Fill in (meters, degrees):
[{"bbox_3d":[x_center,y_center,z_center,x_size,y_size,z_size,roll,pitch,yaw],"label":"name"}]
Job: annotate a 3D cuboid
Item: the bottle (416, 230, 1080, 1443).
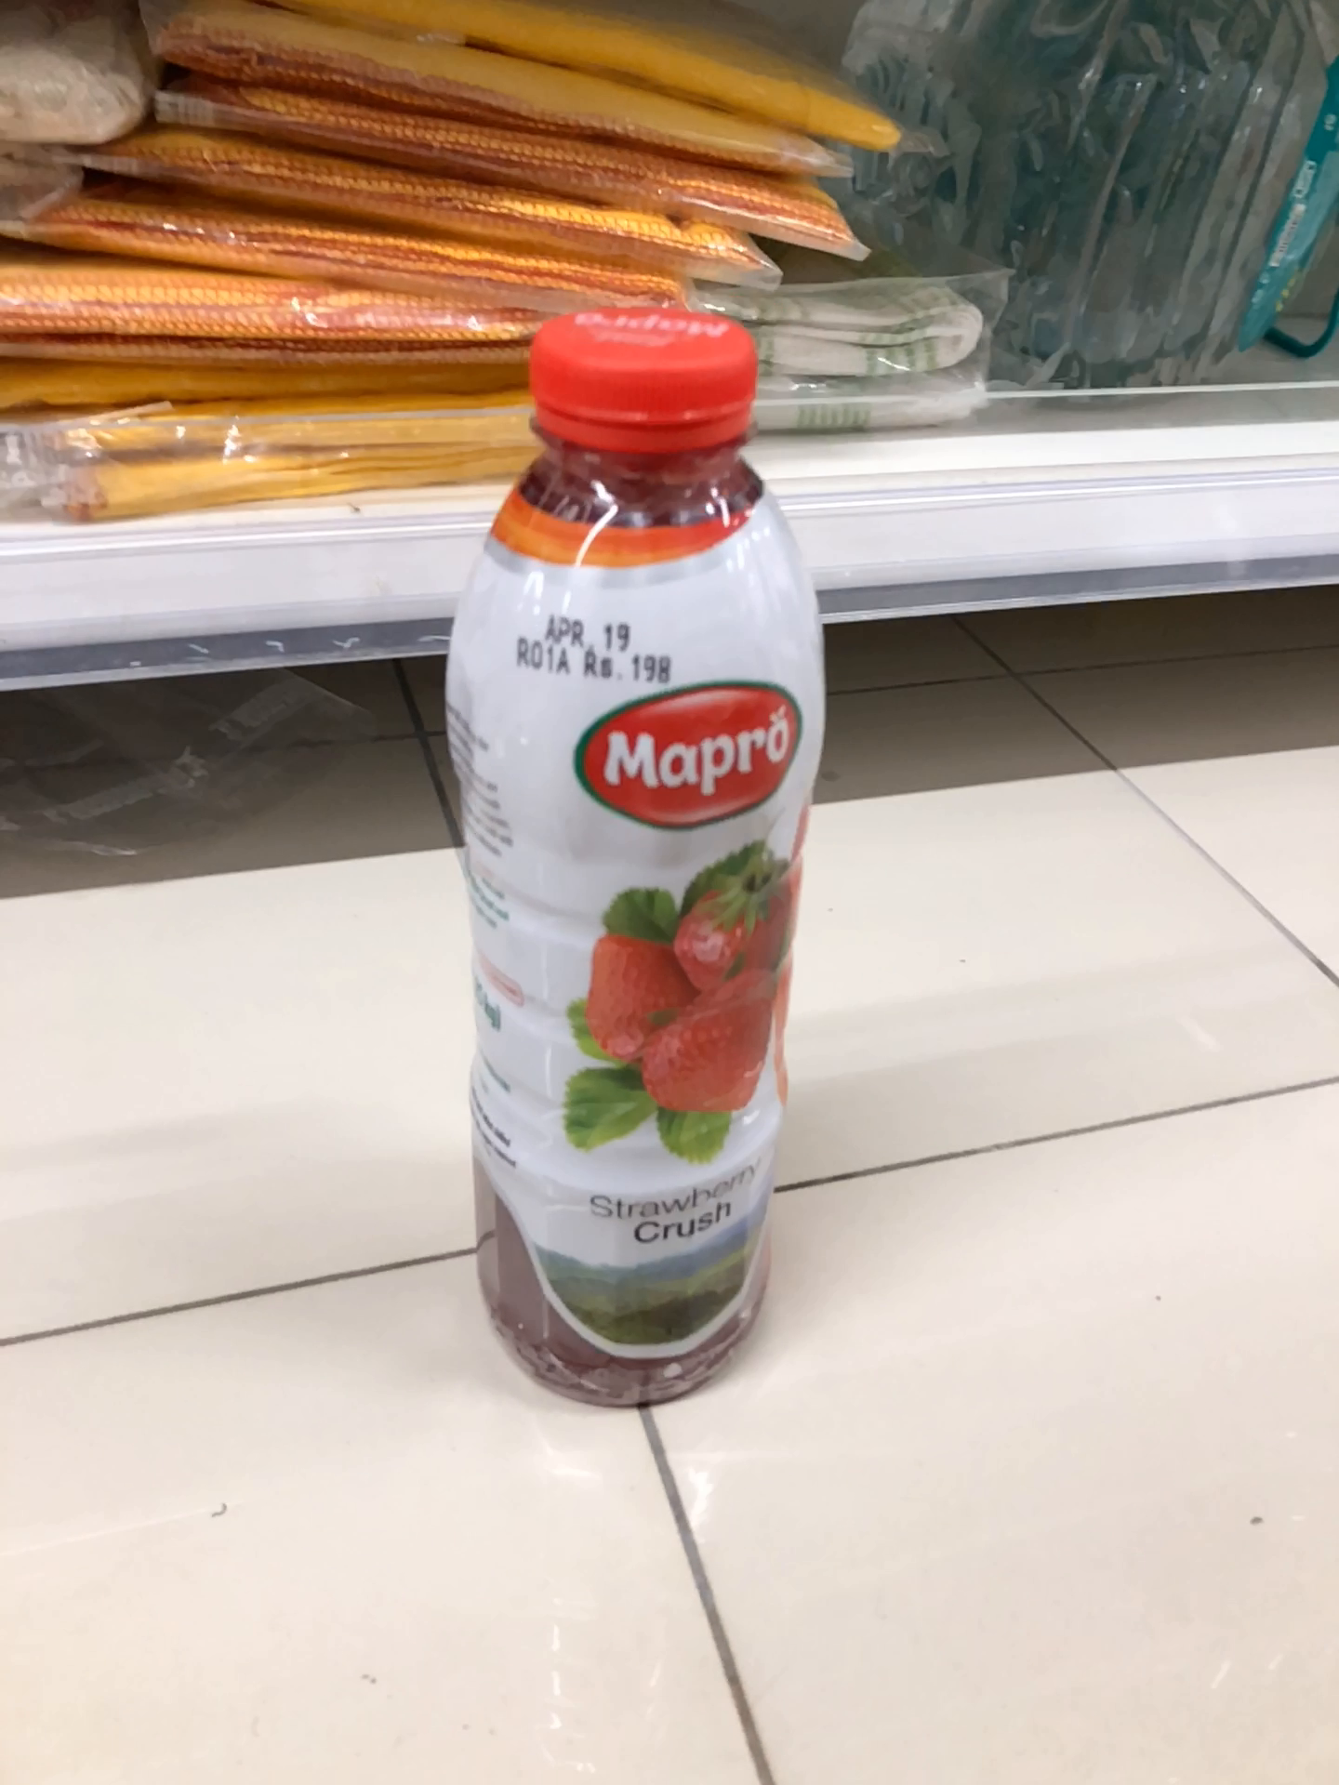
[{"bbox_3d":[0.003,-0.001,0.320,0.090,0.248,0.080,-8,37,-16],"label":"bottle"}]
